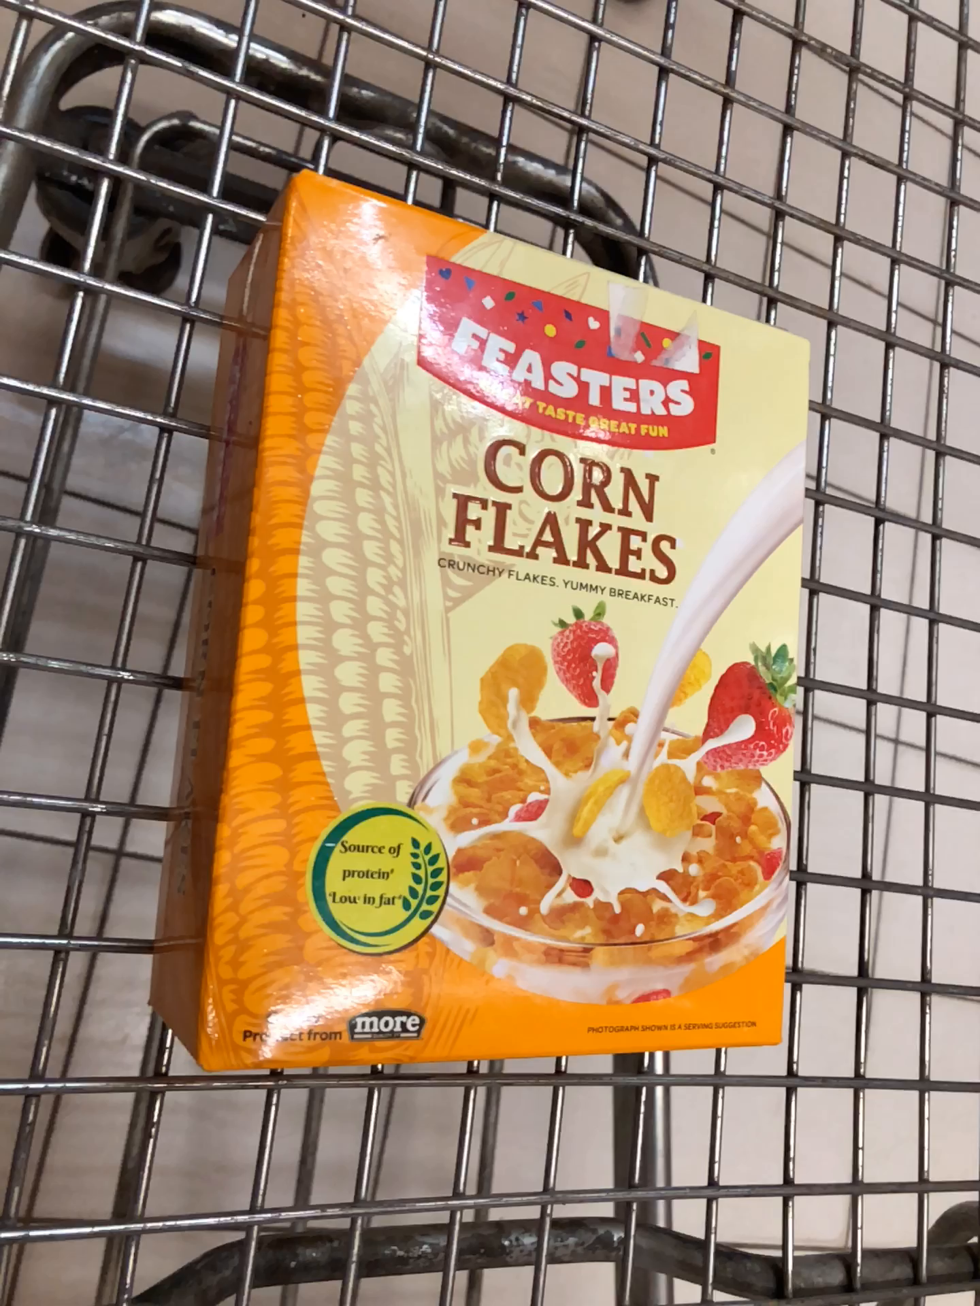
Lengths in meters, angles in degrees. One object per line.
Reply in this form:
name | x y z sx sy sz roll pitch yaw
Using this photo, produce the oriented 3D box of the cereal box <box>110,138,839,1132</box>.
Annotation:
cereal box | 0.001 0.003 0.252 0.140 0.060 0.180 9 83 -26
